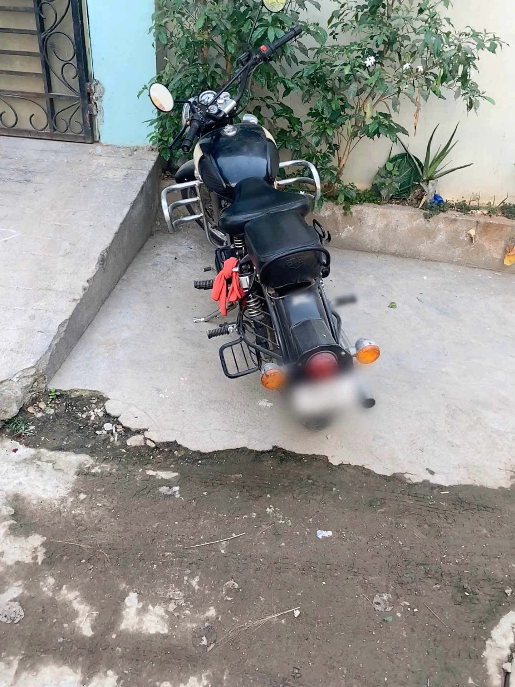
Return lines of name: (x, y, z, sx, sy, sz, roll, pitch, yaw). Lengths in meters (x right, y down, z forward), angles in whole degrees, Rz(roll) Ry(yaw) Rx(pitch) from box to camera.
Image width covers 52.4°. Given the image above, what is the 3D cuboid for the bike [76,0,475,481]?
bike: (-0.166, -0.724, 2.180, 0.746, 1.339, 1.794, -9, 39, -21)
